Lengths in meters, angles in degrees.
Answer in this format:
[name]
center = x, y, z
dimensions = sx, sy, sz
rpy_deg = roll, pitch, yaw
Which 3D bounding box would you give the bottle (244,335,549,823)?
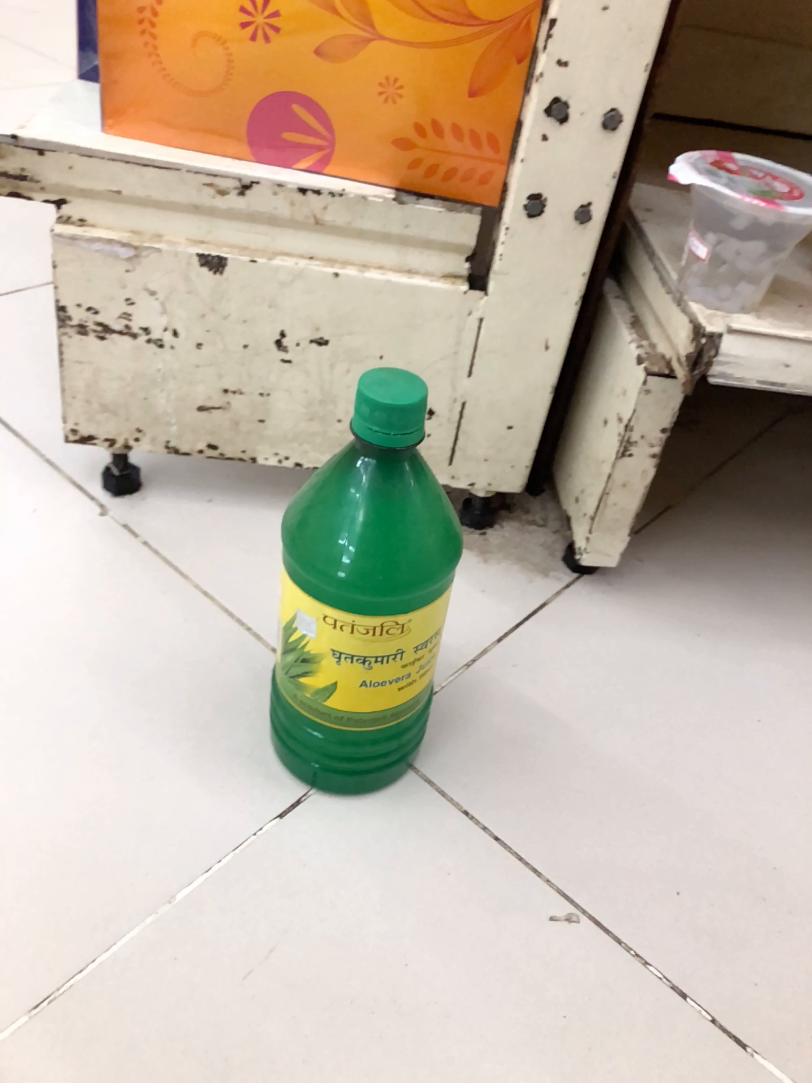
[bottle]
center = -0.019, 0.023, 0.450
dimensions = 0.100, 0.218, 0.100
rpy_deg = 5, 39, -4
